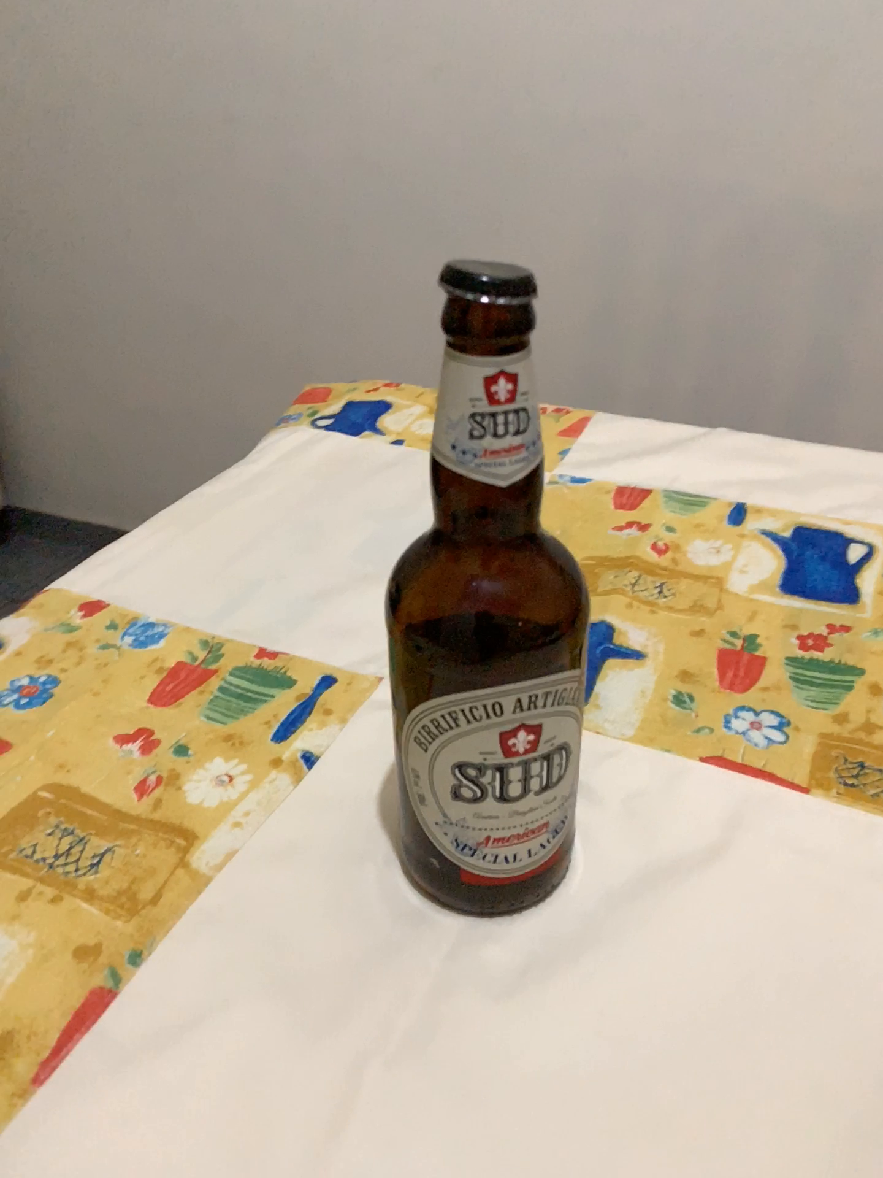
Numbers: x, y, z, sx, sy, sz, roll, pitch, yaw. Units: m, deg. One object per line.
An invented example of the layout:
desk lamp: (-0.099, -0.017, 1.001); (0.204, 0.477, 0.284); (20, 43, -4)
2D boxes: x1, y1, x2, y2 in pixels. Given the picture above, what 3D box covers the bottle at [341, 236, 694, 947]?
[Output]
bottle: (0.020, 0.010, 0.321); (0.080, 0.239, 0.070); (-11, 33, -15)
